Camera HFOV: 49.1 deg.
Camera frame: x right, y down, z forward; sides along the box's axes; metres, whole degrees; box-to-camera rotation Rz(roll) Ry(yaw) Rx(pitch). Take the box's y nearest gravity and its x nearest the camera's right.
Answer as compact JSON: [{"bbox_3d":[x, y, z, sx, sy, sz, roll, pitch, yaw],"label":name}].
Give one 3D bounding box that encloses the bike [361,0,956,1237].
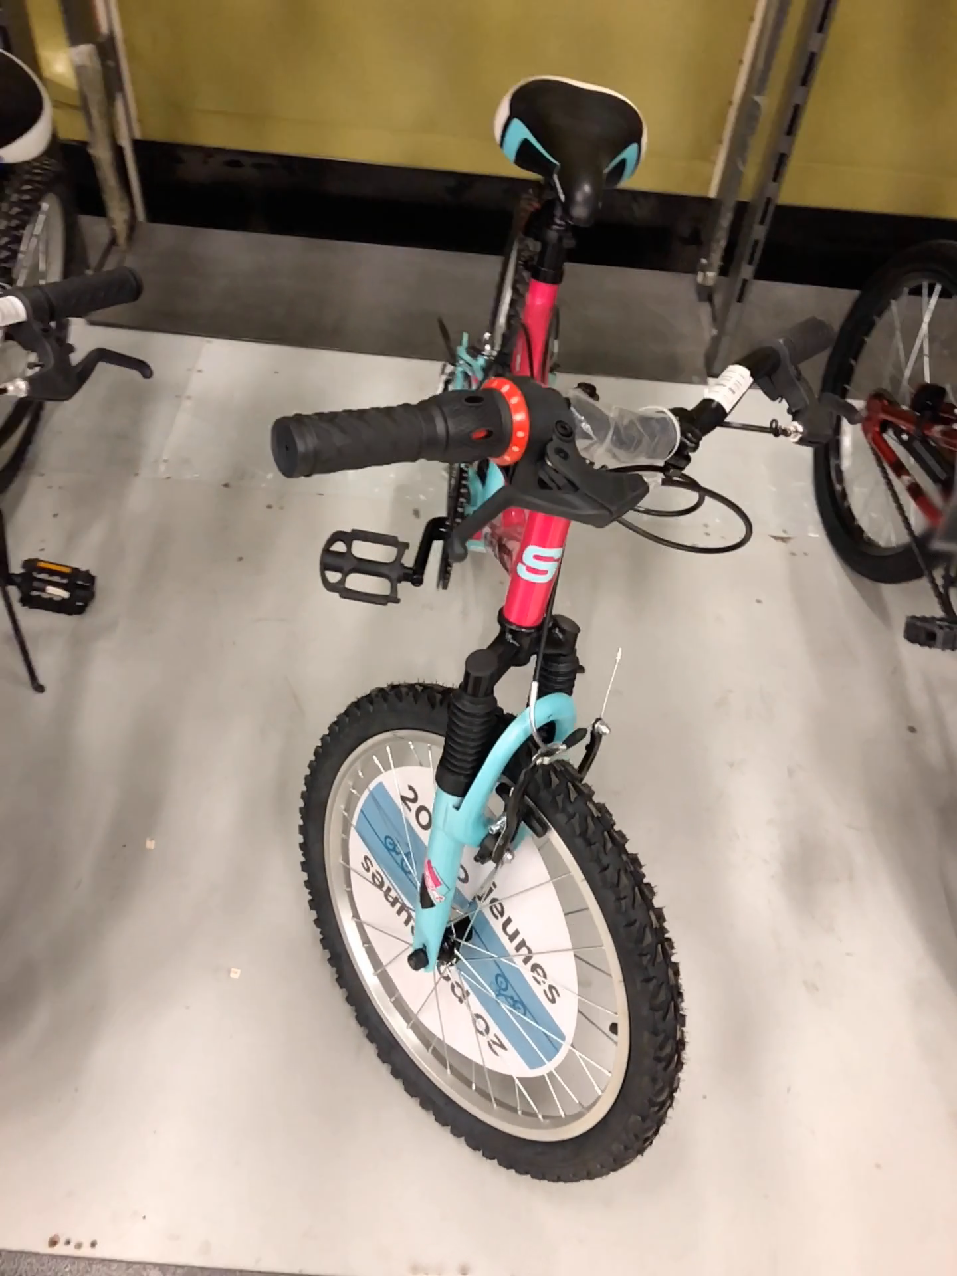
[{"bbox_3d":[0.163,-0.132,1.135,0.563,0.764,1.219,0,55,-5],"label":"bike"}]
